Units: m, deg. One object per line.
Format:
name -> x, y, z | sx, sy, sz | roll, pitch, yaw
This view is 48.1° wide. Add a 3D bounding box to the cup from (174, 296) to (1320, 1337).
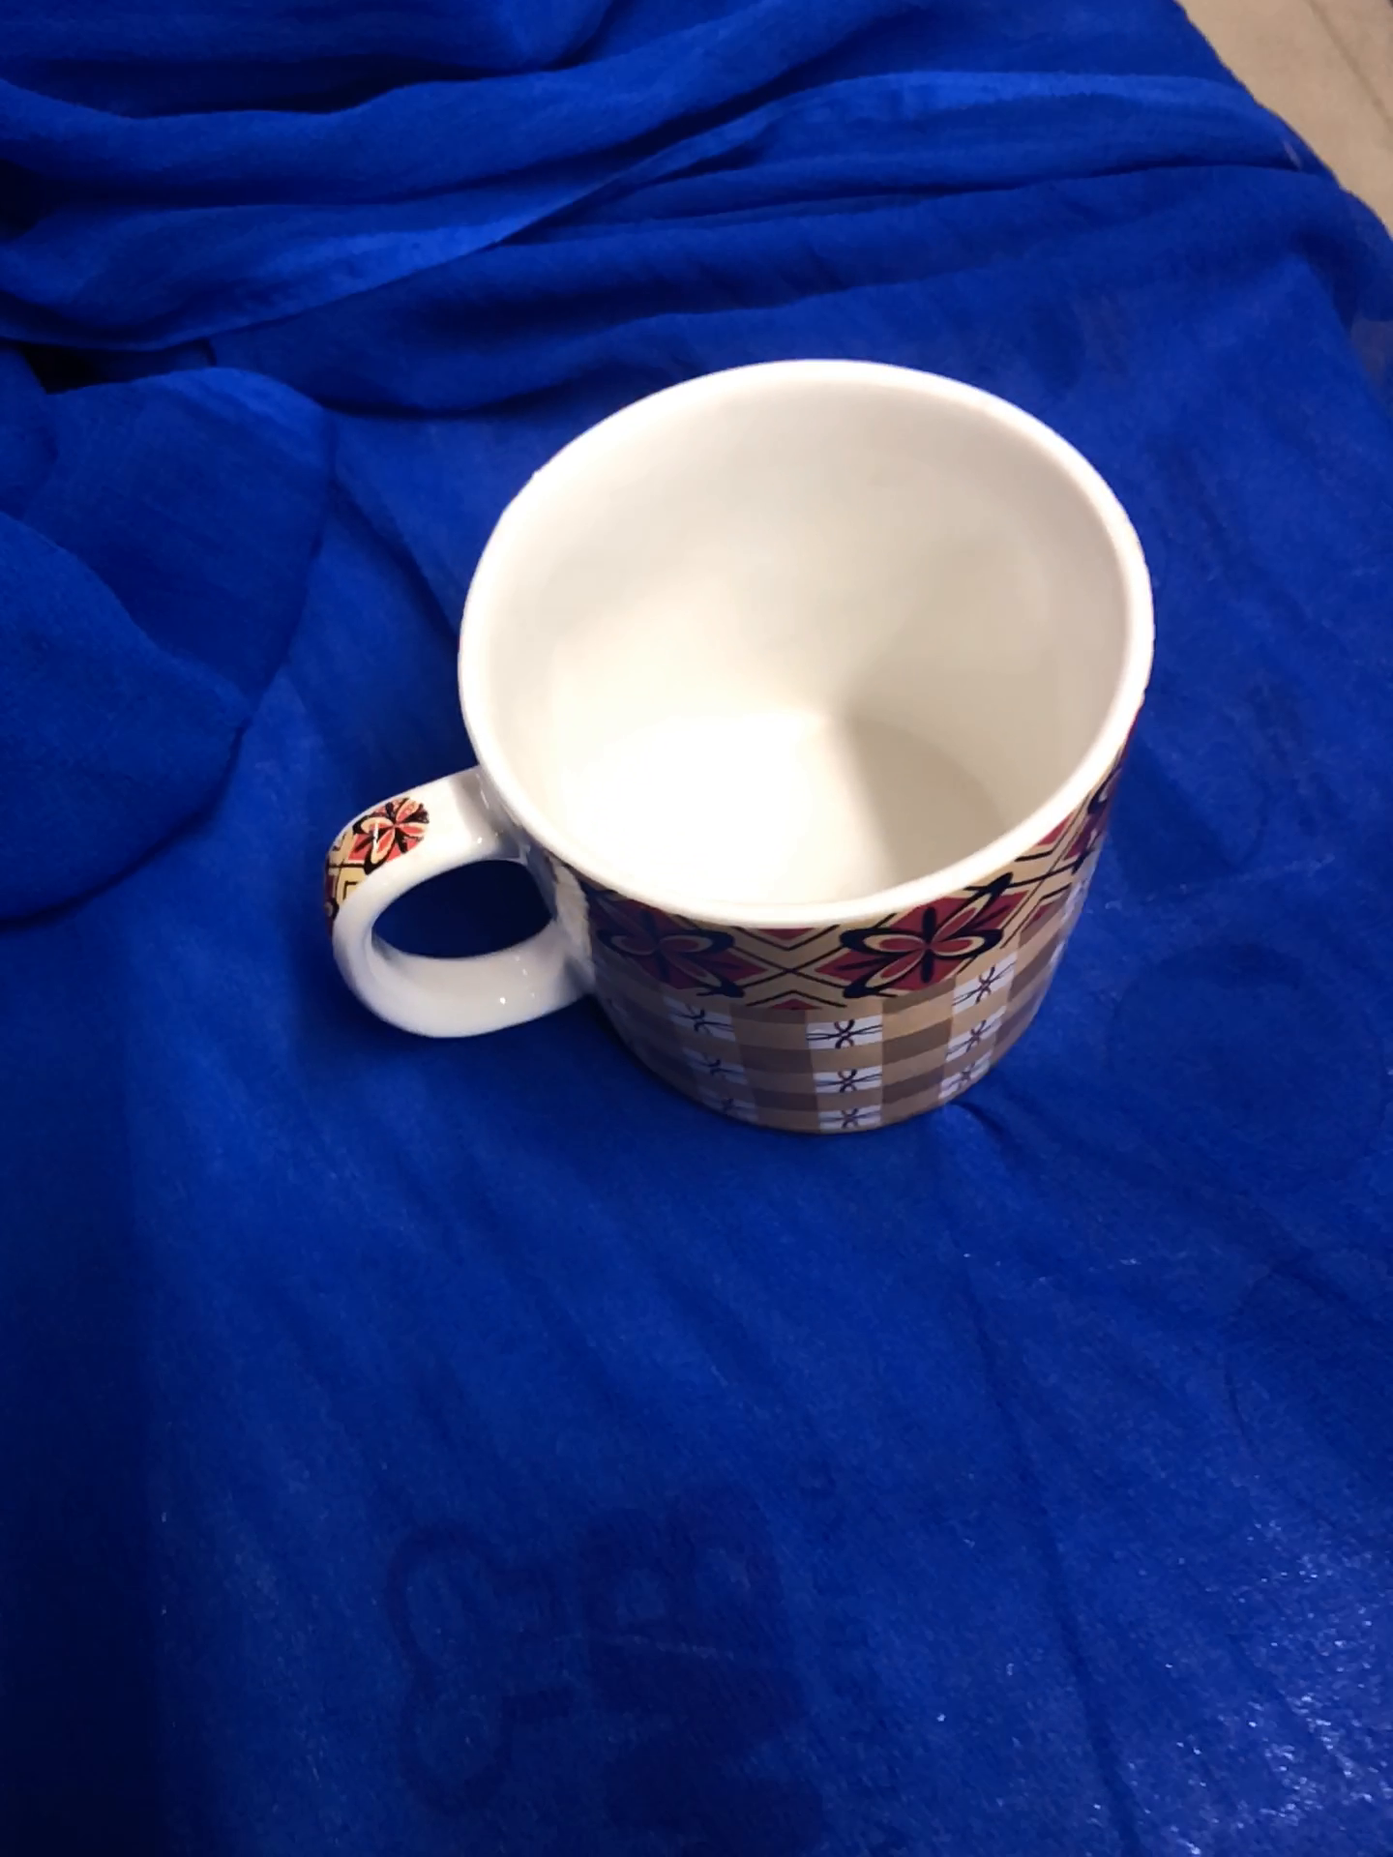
cup -> 0.003, -0.007, 0.205 | 0.100, 0.100, 0.070 | -18, 64, -7
